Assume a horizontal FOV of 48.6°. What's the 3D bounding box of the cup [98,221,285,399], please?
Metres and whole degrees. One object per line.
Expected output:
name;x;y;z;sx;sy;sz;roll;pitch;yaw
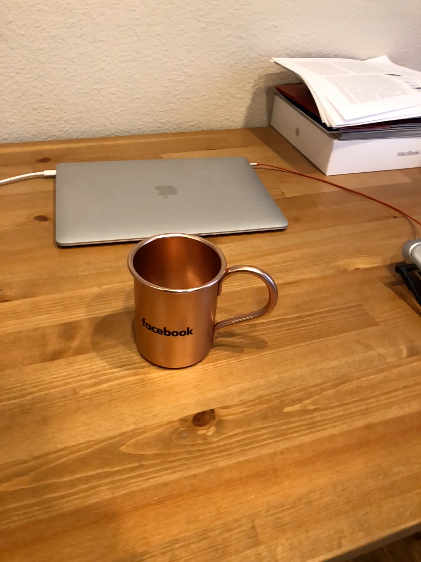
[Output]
cup;-0.014;0.022;0.392;0.130;0.100;0.080;10;39;7
